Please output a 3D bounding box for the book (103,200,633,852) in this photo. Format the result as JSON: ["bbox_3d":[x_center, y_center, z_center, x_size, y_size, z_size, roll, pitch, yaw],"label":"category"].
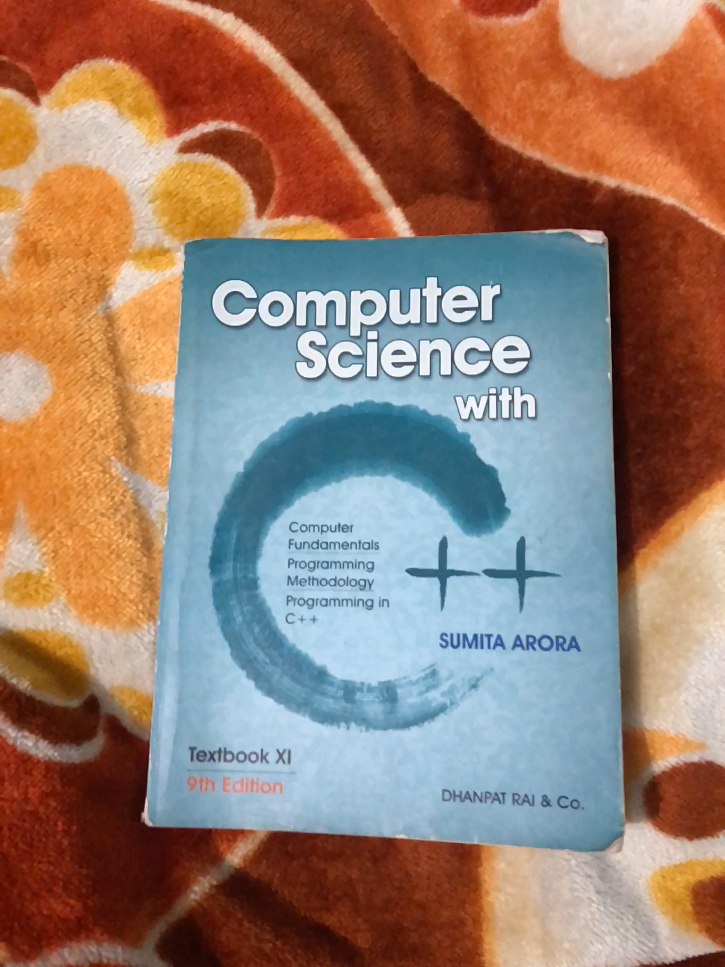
[{"bbox_3d":[0.005,0.010,0.362,0.210,0.040,0.270,1,80,5],"label":"book"}]
